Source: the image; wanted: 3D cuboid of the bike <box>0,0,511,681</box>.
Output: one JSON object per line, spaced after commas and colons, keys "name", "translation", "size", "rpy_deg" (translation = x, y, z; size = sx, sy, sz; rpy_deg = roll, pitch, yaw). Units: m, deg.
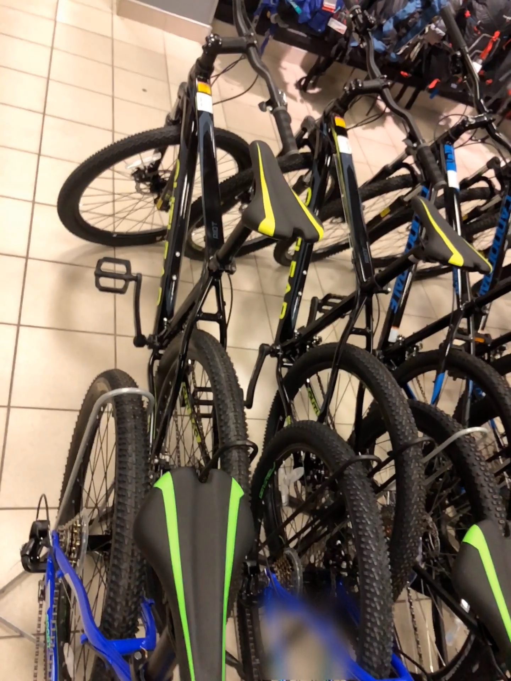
{"name": "bike", "translation": [-0.331, -0.082, 1.244], "size": [0.663, 1.044, 1.356], "rpy_deg": [-2, 51, -30]}
